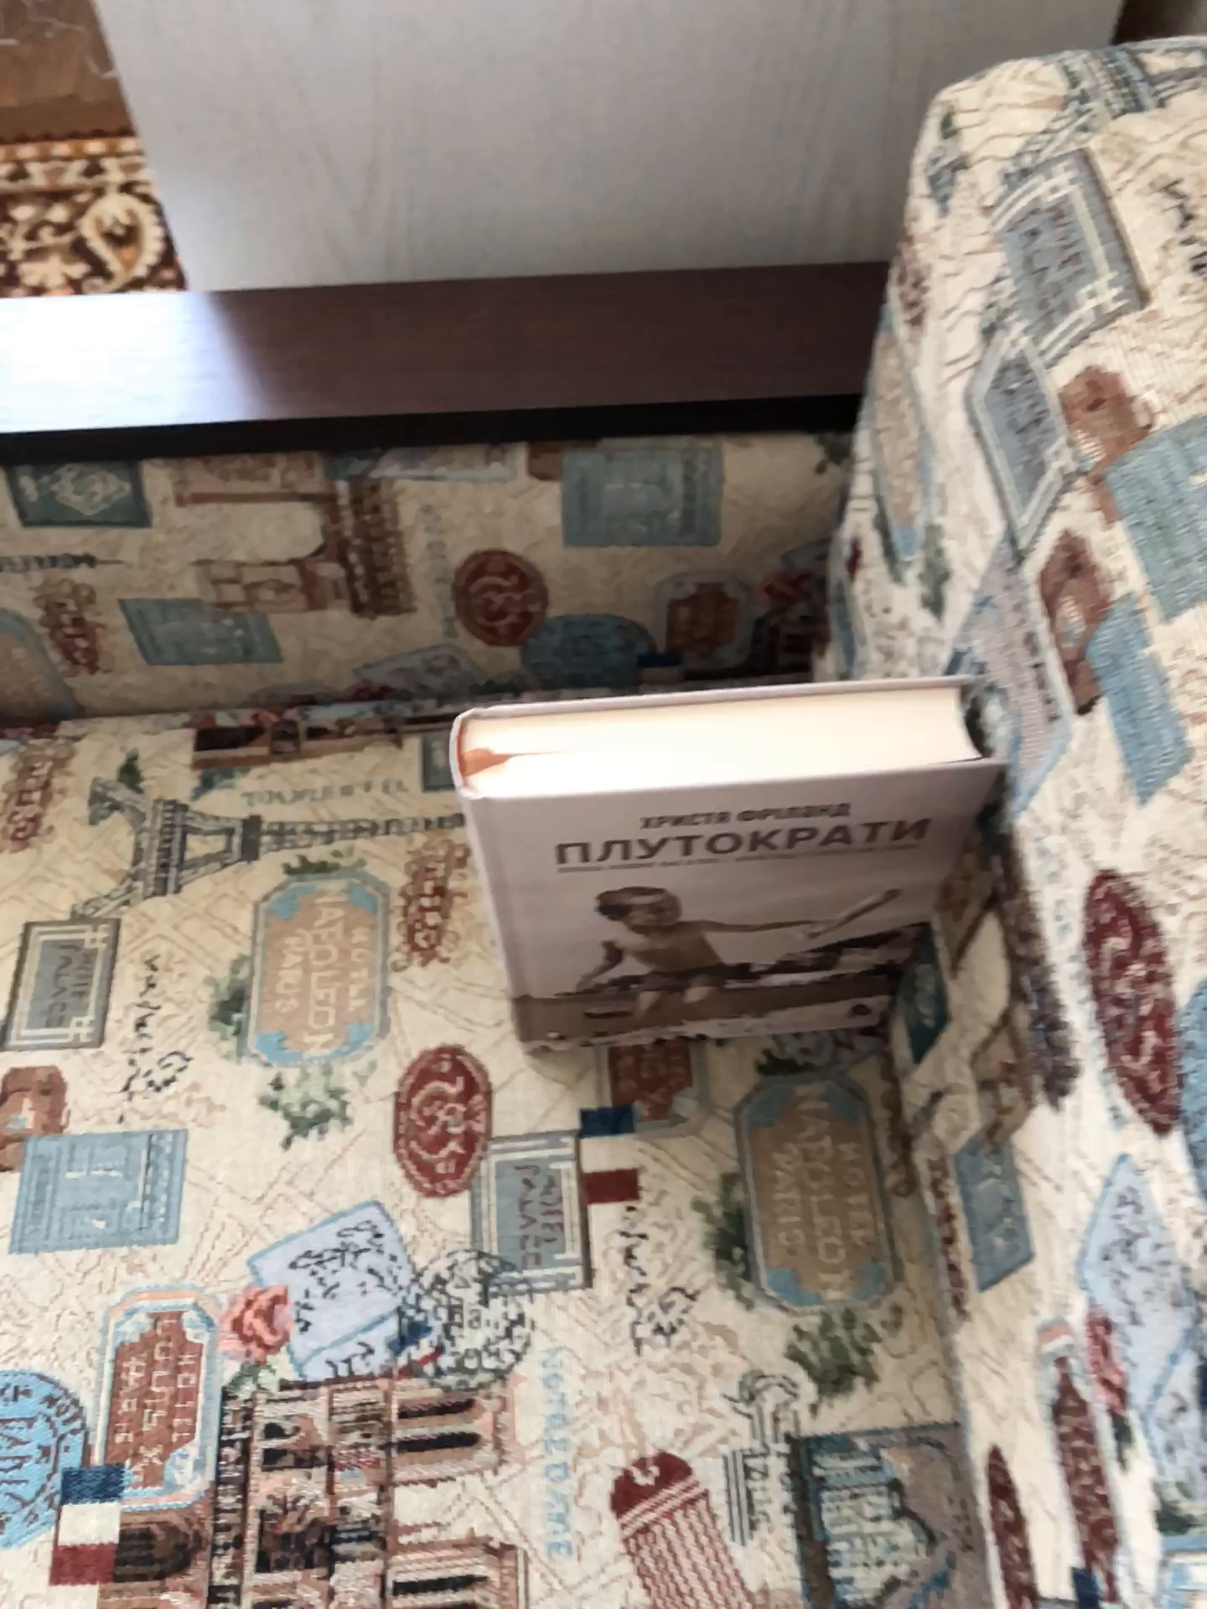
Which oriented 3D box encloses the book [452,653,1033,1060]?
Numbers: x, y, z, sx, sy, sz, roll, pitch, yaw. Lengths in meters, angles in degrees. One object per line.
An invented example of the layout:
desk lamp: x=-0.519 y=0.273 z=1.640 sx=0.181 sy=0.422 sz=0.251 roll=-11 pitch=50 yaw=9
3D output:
book: x=0.038 y=0.031 z=0.464 sx=0.157 sy=0.215 sz=0.037 roll=-4 pitch=61 yaw=-2
